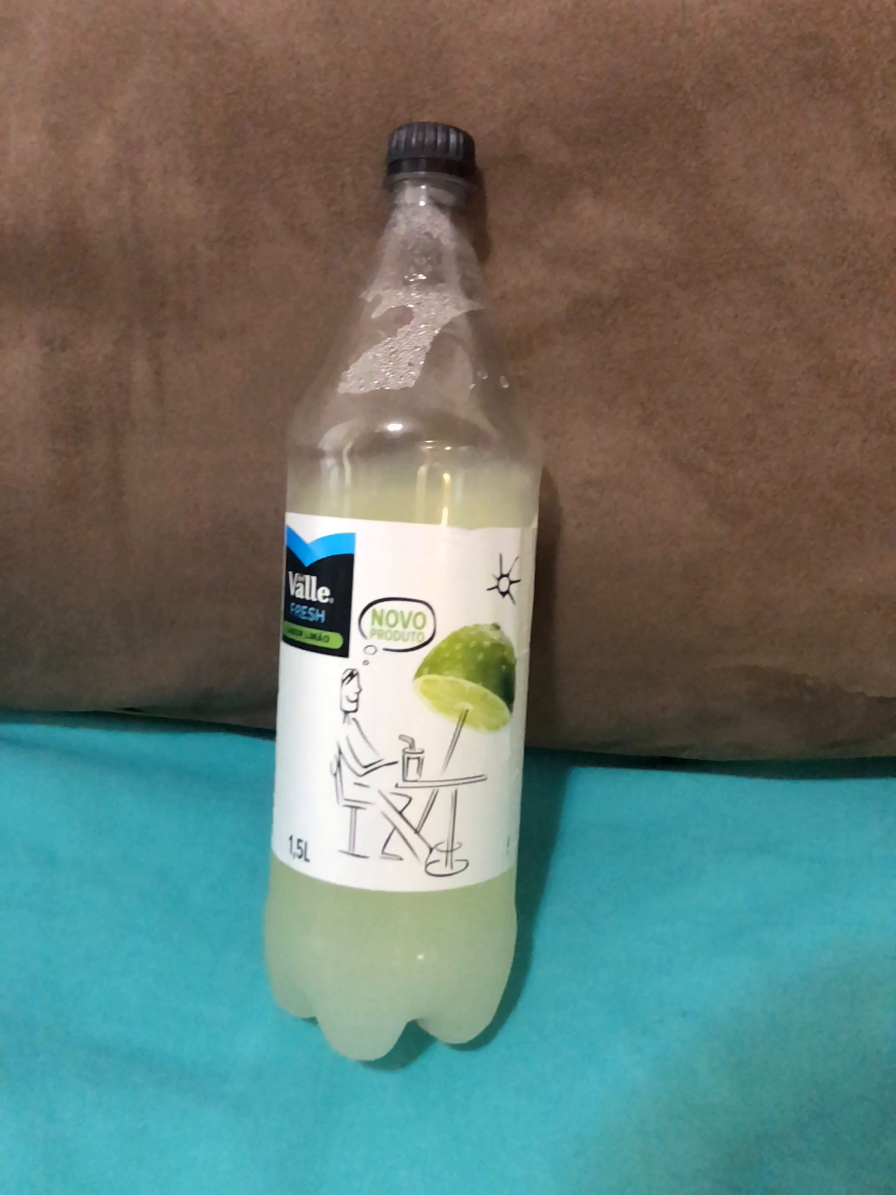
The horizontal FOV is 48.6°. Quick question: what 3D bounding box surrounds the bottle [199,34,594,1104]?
[{"bbox_3d":[-0.008,-0.015,0.362,0.100,0.330,0.100,4,-5,0],"label":"bottle"}]
